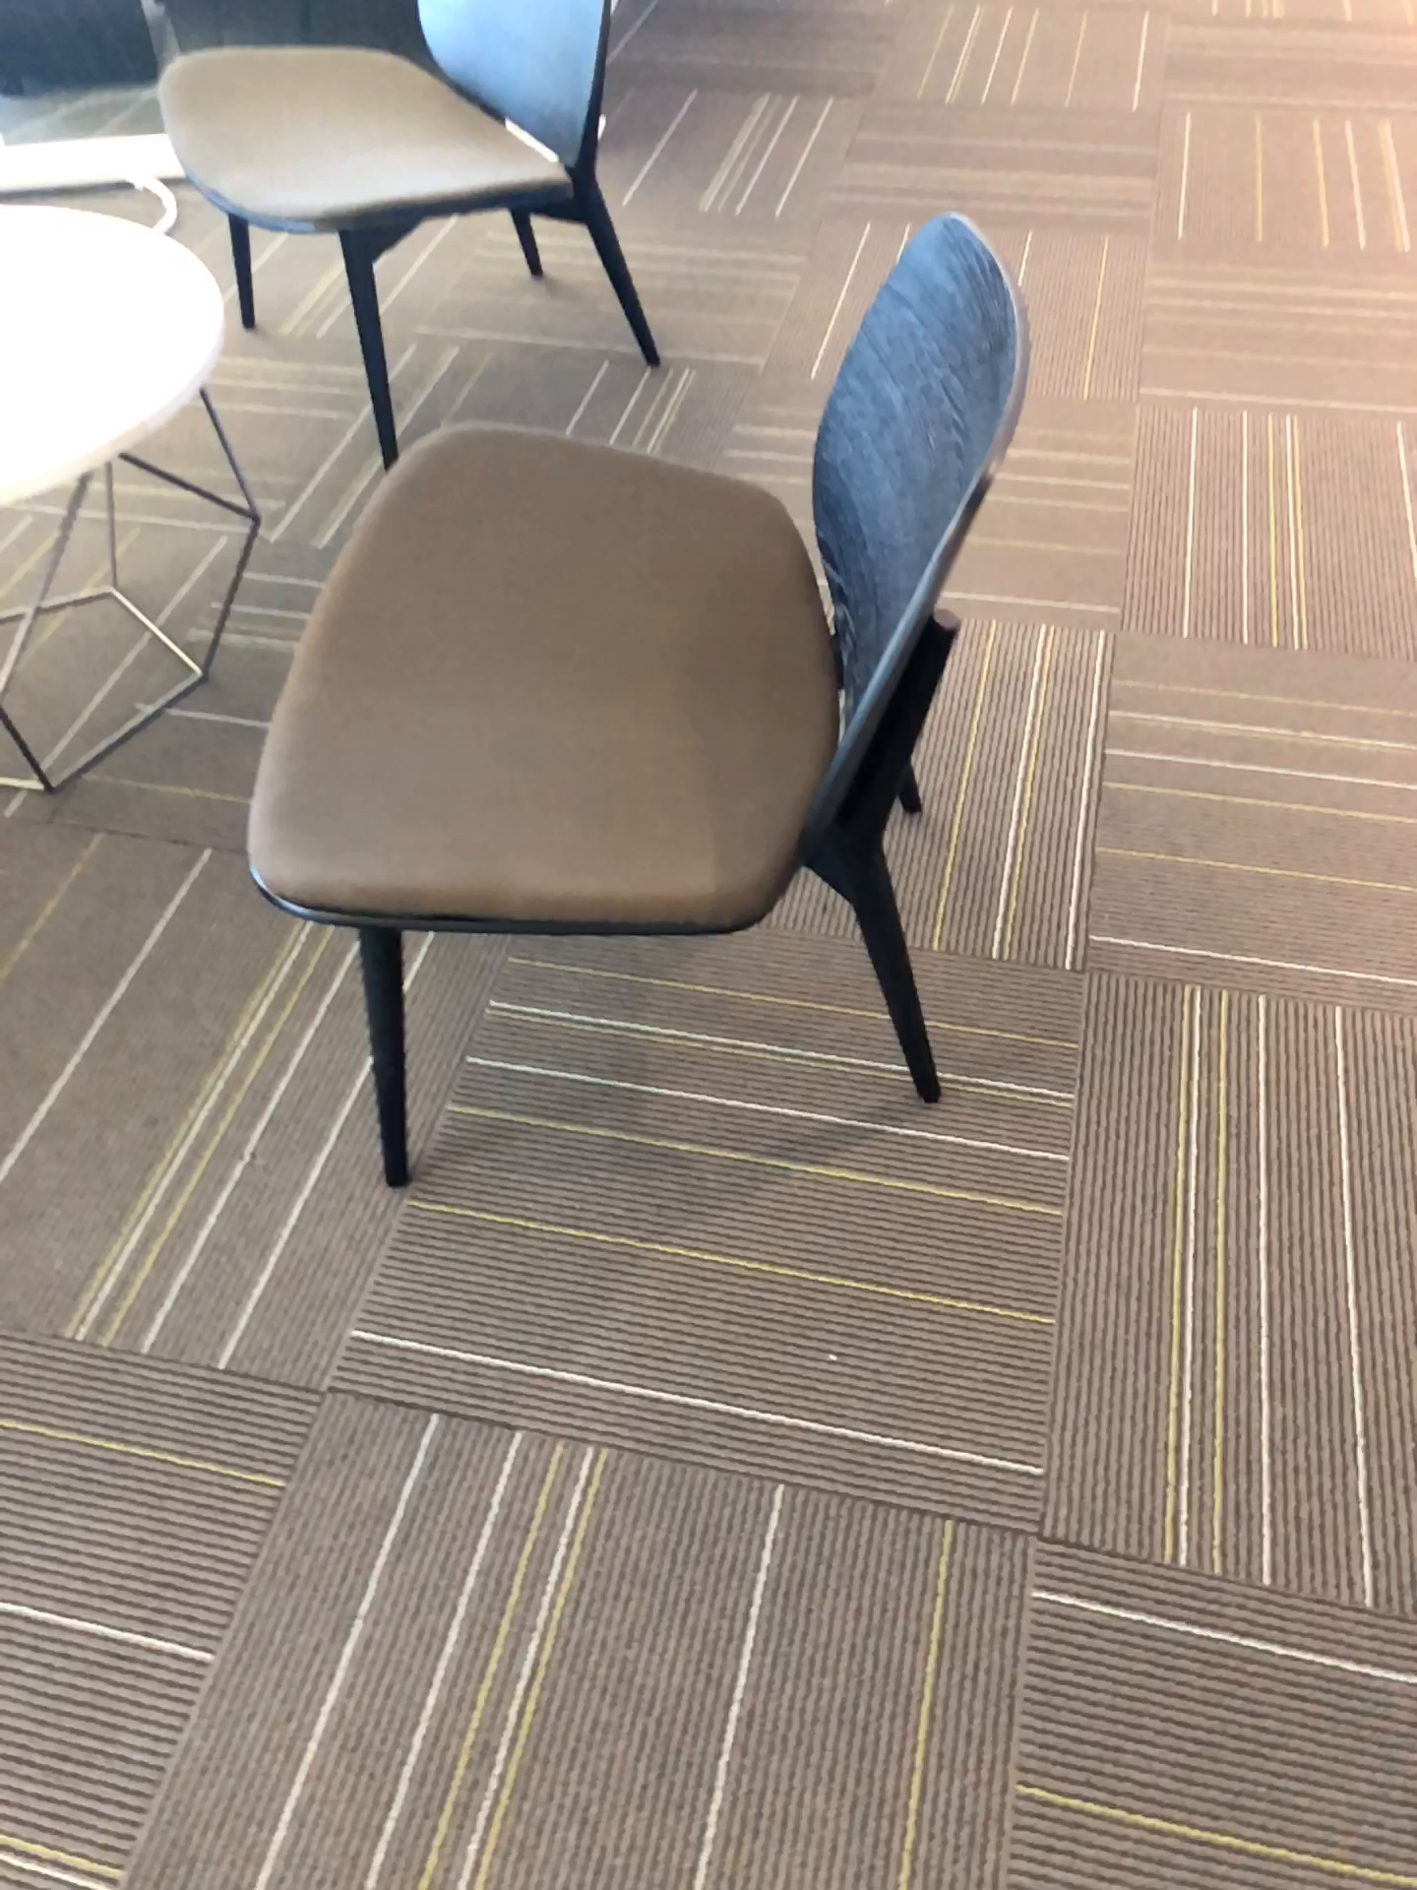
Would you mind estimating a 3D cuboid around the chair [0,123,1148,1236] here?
[{"bbox_3d":[-0.091,-0.226,1.442,0.740,0.737,0.673,-1,47,2],"label":"chair"}]
